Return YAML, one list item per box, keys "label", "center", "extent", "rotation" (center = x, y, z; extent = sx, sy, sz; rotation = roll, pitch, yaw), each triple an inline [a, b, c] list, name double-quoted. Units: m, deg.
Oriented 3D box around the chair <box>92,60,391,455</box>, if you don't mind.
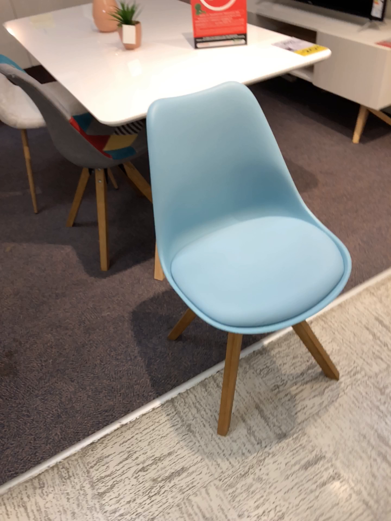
- label: "chair"
  center: [0.146, -0.013, 1.196]
  extent: [0.541, 0.795, 0.562]
  rotation: [-22, 44, -17]
